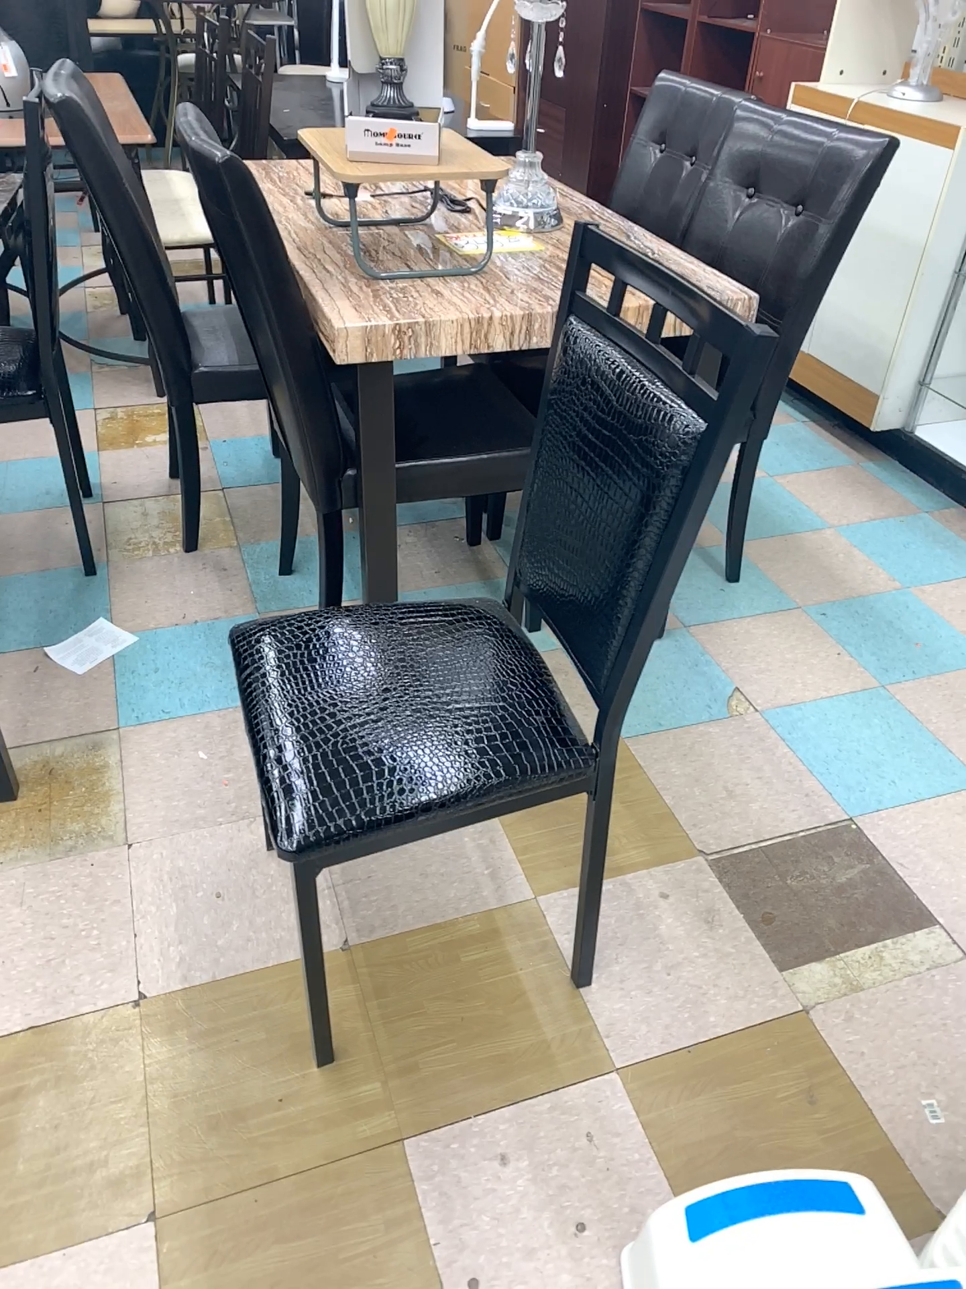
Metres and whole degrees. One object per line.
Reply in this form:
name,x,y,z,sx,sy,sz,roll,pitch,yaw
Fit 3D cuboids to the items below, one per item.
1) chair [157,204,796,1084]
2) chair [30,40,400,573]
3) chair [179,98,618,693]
chair,-0.056,0.015,1.231,0.504,0.943,0.463,-10,38,-16
chair,-0.622,-0.833,2.416,0.675,1.072,0.564,-12,39,-18
chair,-0.178,-0.486,1.893,0.595,0.923,0.534,-12,39,-18
